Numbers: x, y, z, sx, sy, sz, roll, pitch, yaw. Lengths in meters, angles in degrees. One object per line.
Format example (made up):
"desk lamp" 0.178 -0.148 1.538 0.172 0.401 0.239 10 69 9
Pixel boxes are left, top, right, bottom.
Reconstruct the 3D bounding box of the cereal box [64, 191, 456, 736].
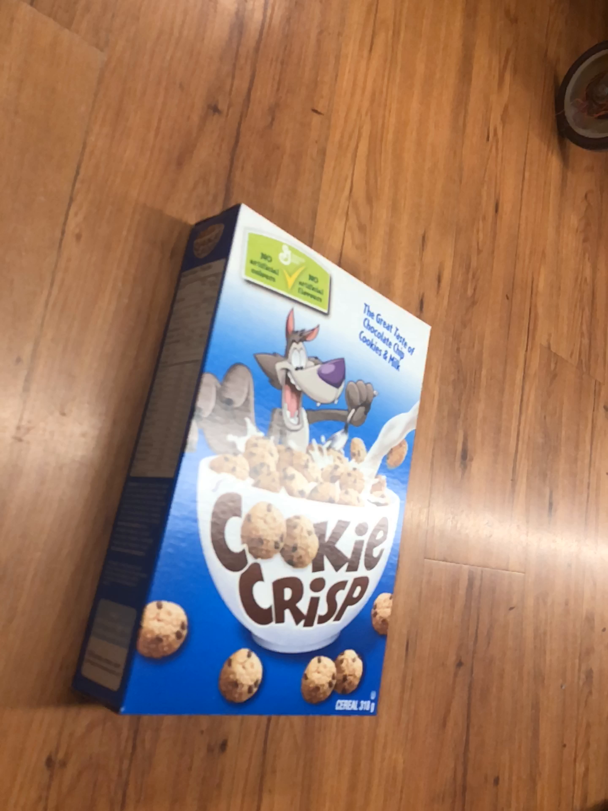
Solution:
"cereal box" -0.005 0.047 0.418 0.201 0.060 0.280 24 73 -41
